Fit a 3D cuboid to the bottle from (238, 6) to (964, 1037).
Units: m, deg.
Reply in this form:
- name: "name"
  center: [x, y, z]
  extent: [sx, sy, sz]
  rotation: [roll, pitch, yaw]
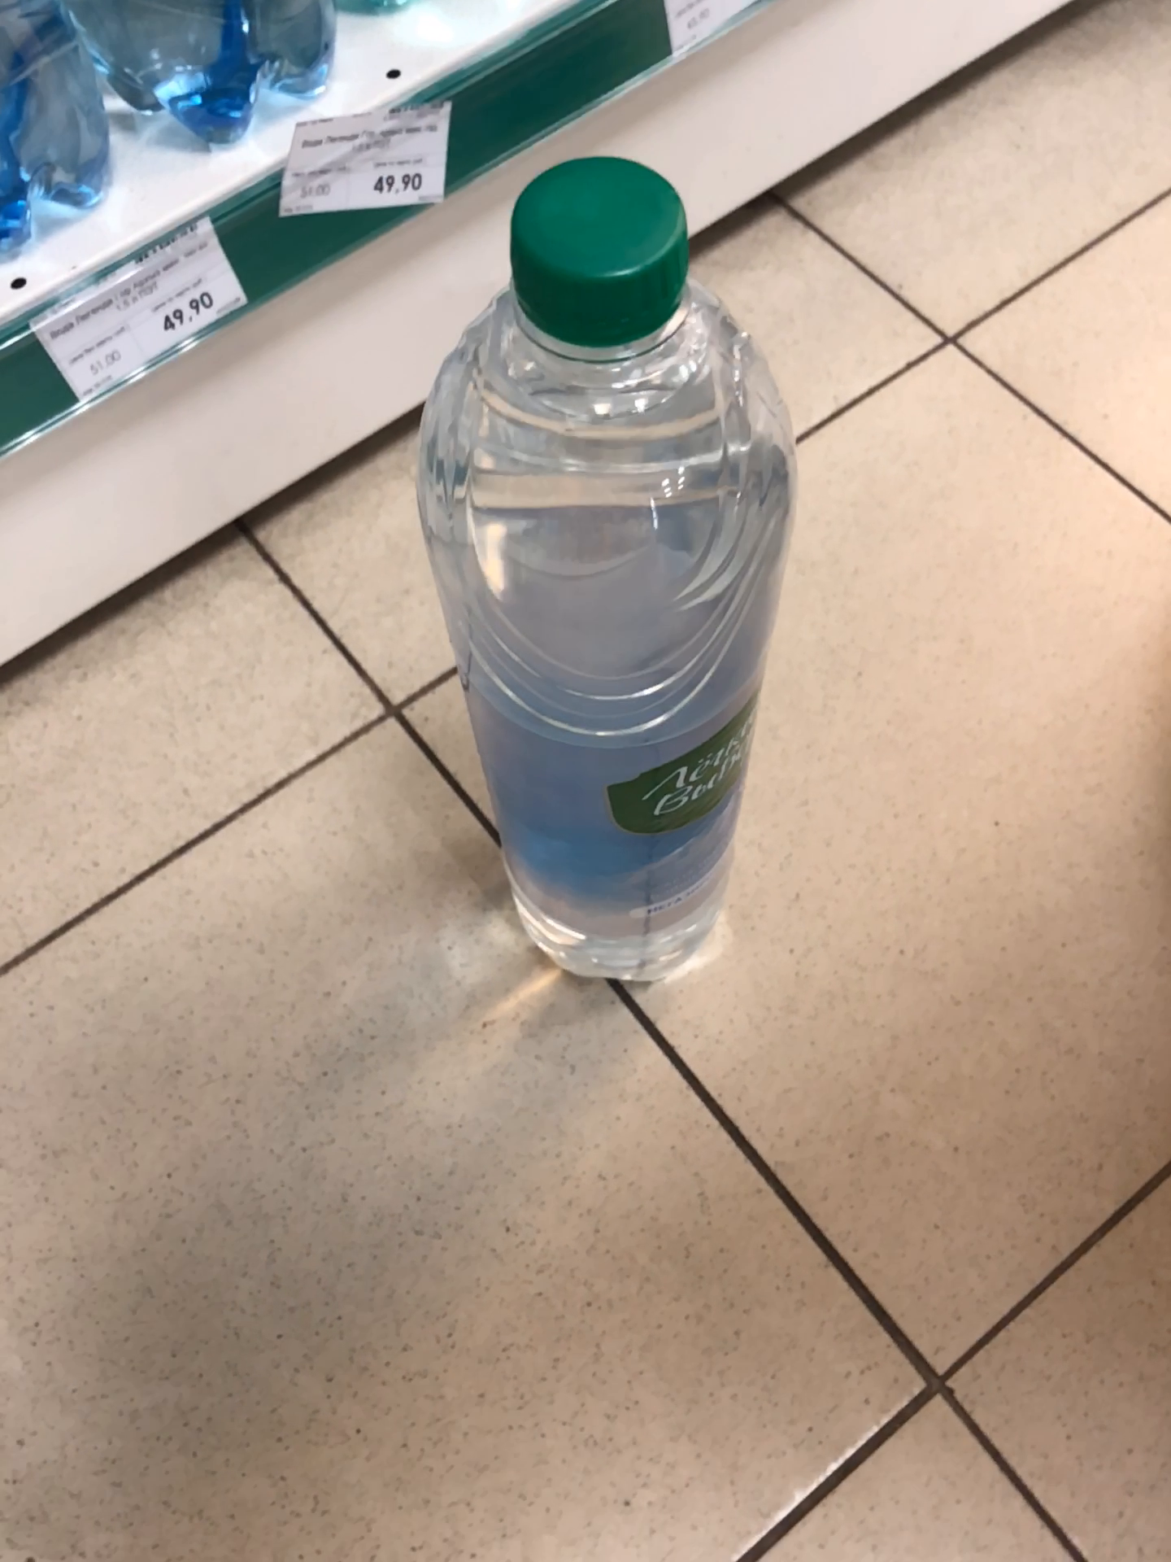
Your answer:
- name: "bottle"
  center: [0.008, -0.028, 0.356]
  extent: [0.086, 0.300, 0.089]
  rotation: [-1, 65, 2]
